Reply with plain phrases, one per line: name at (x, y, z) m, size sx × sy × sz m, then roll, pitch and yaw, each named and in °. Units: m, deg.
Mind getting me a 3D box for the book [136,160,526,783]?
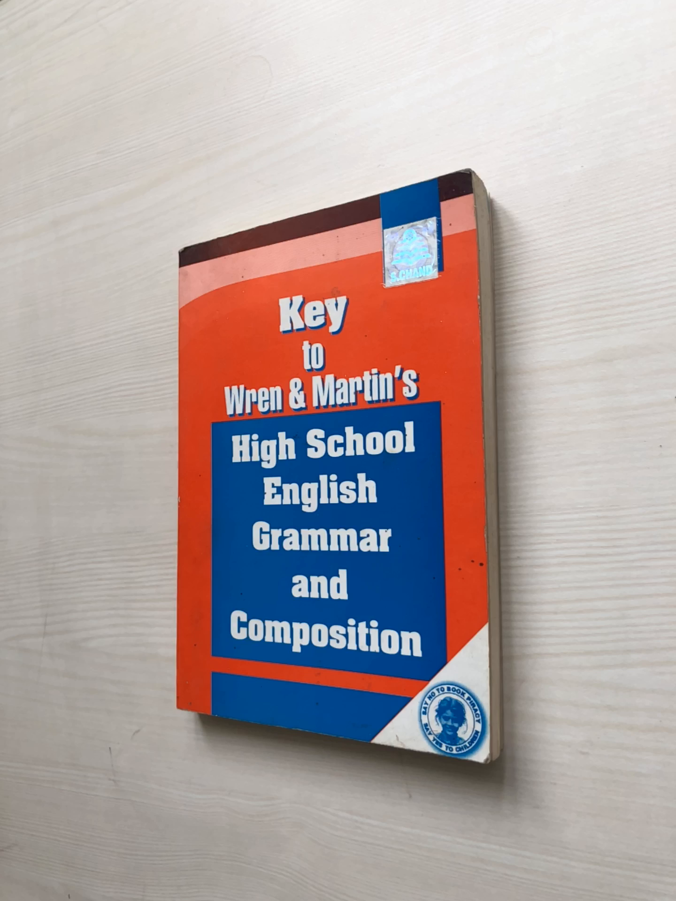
book at (-0.007, 0.007, 0.252) m, size 0.130 × 0.030 × 0.170 m, roll -2°, pitch 85°, yaw 30°
